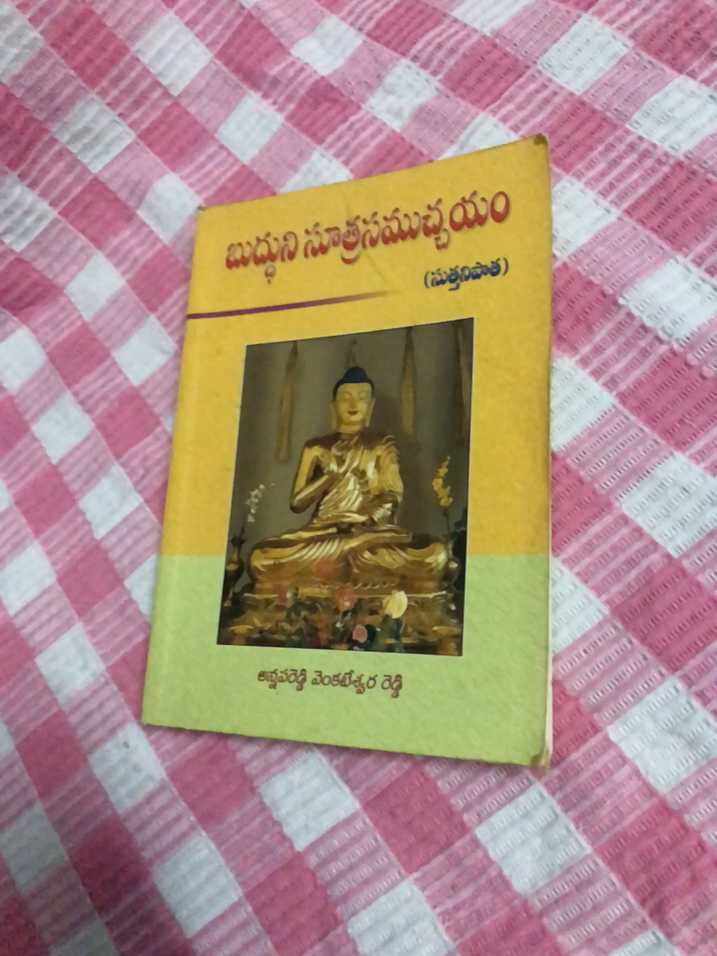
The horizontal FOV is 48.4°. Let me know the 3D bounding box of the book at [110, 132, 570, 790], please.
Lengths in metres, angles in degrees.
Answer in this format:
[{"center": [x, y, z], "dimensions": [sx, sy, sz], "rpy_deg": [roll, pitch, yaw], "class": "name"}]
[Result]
[{"center": [-0.004, -0.010, 0.286], "dimensions": [0.150, 0.030, 0.210], "rpy_deg": [-3, 74, 22], "class": "book"}]
